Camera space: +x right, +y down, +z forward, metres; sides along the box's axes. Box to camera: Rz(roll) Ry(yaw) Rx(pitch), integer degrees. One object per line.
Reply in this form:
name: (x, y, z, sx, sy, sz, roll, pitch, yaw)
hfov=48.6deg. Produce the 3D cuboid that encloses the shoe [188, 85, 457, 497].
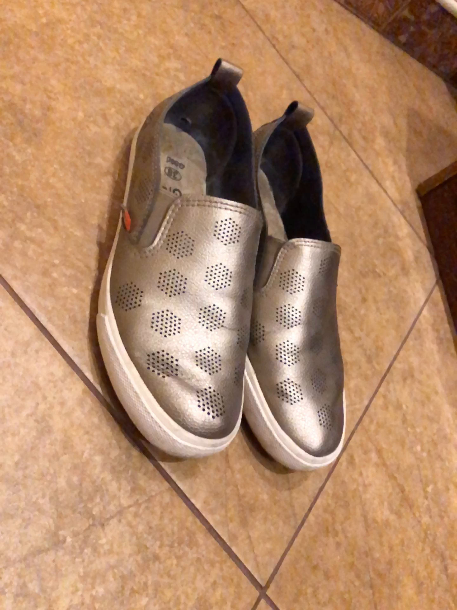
shoe: (0.055, -0.005, 0.350, 0.100, 0.109, 0.241, 9, 62, -34)

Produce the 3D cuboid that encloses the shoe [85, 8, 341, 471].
shoe: (-0.019, -0.037, 0.310, 0.090, 0.099, 0.251, 13, 60, -32)
